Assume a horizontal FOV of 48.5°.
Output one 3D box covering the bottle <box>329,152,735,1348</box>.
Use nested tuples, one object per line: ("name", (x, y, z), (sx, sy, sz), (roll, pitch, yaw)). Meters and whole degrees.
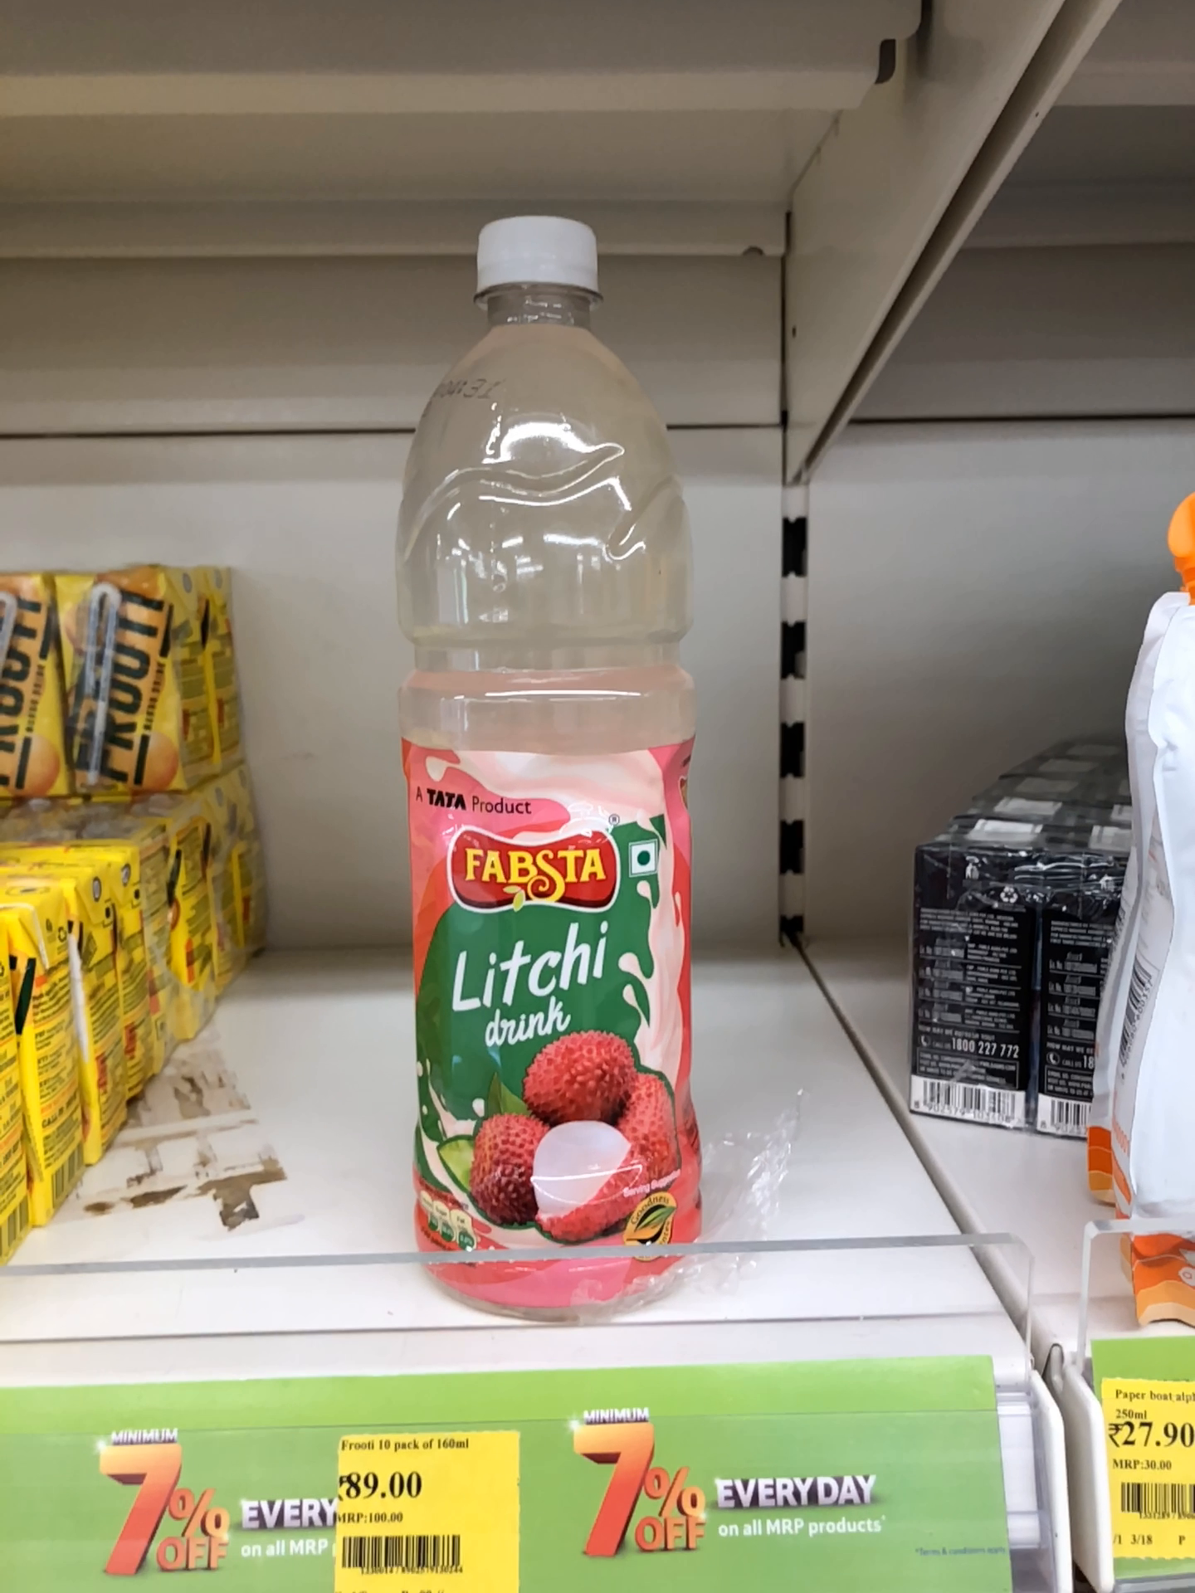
("bottle", (-0.009, -0.007, 0.337), (0.080, 0.269, 0.070), (1, 11, 10))
